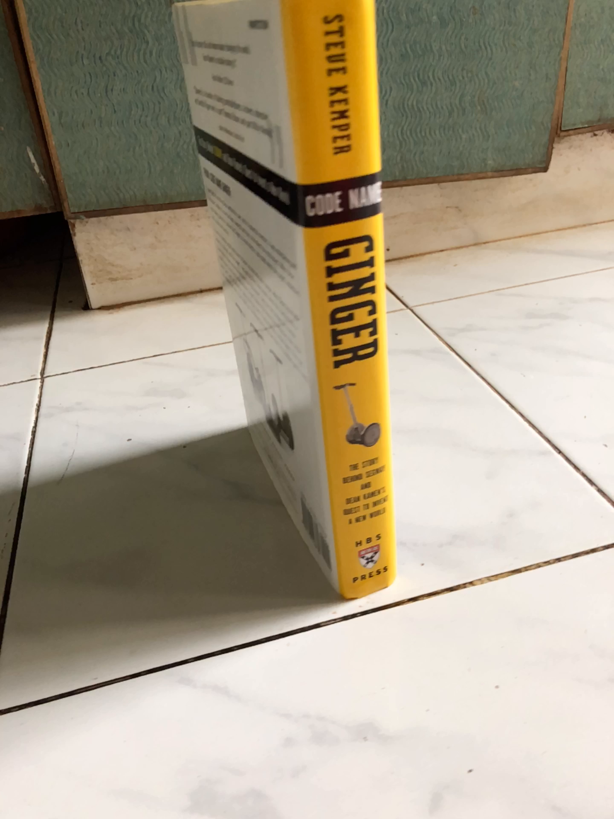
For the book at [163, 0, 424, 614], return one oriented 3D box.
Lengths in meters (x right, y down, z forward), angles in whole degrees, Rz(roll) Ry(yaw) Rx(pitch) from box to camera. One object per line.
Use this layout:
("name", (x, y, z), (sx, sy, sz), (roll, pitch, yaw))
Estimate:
("book", (-0.009, -0.061, 0.323), (0.040, 0.239, 0.191), (-15, 32, -14))
